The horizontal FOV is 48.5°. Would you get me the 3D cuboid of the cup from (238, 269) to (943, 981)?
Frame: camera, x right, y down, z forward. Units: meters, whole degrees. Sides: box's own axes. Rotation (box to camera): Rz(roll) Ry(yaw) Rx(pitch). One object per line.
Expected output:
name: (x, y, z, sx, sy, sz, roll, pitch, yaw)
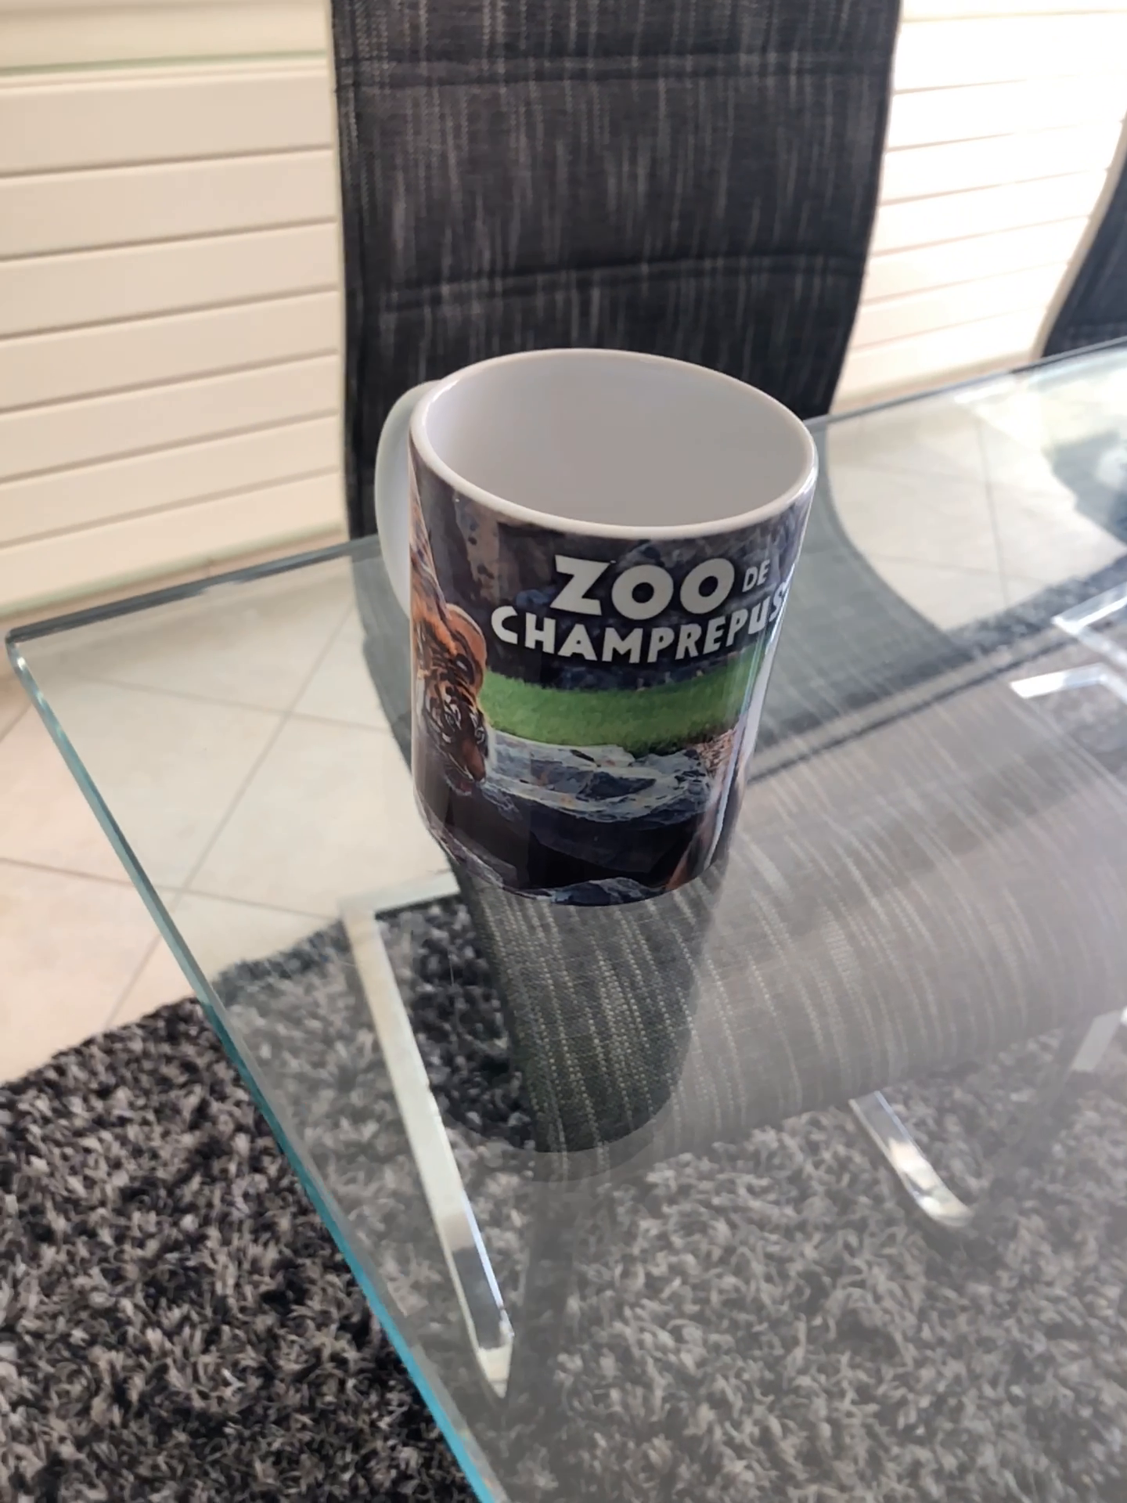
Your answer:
cup: (-0.001, -0.035, 0.275, 0.080, 0.089, 0.120, -26, 49, -33)
